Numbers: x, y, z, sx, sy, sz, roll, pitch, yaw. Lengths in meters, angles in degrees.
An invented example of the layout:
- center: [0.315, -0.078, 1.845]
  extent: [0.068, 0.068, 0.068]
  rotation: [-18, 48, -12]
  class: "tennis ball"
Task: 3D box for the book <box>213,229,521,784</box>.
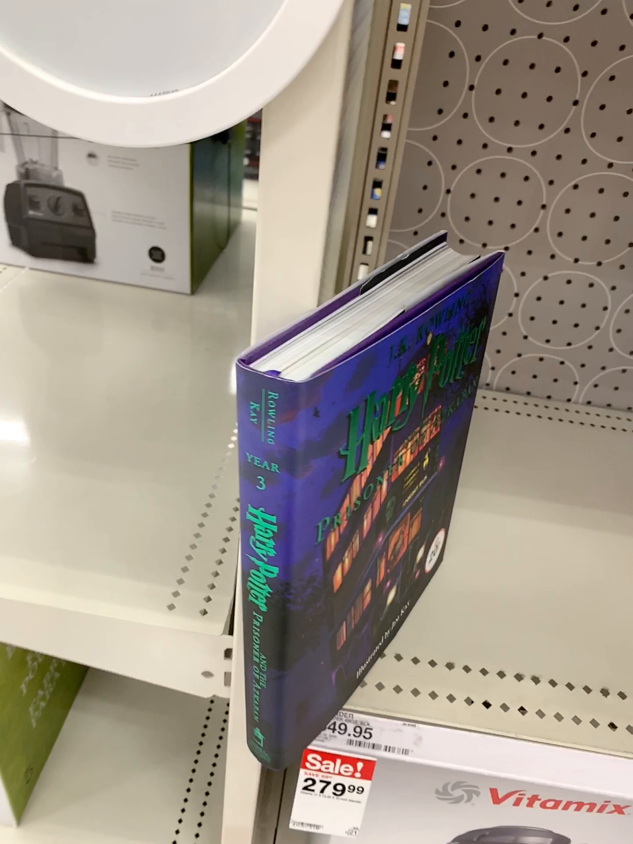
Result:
- center: [0.039, 0.047, 0.426]
  extent: [0.050, 0.280, 0.241]
  rotation: [22, 38, 27]
  class: "book"
